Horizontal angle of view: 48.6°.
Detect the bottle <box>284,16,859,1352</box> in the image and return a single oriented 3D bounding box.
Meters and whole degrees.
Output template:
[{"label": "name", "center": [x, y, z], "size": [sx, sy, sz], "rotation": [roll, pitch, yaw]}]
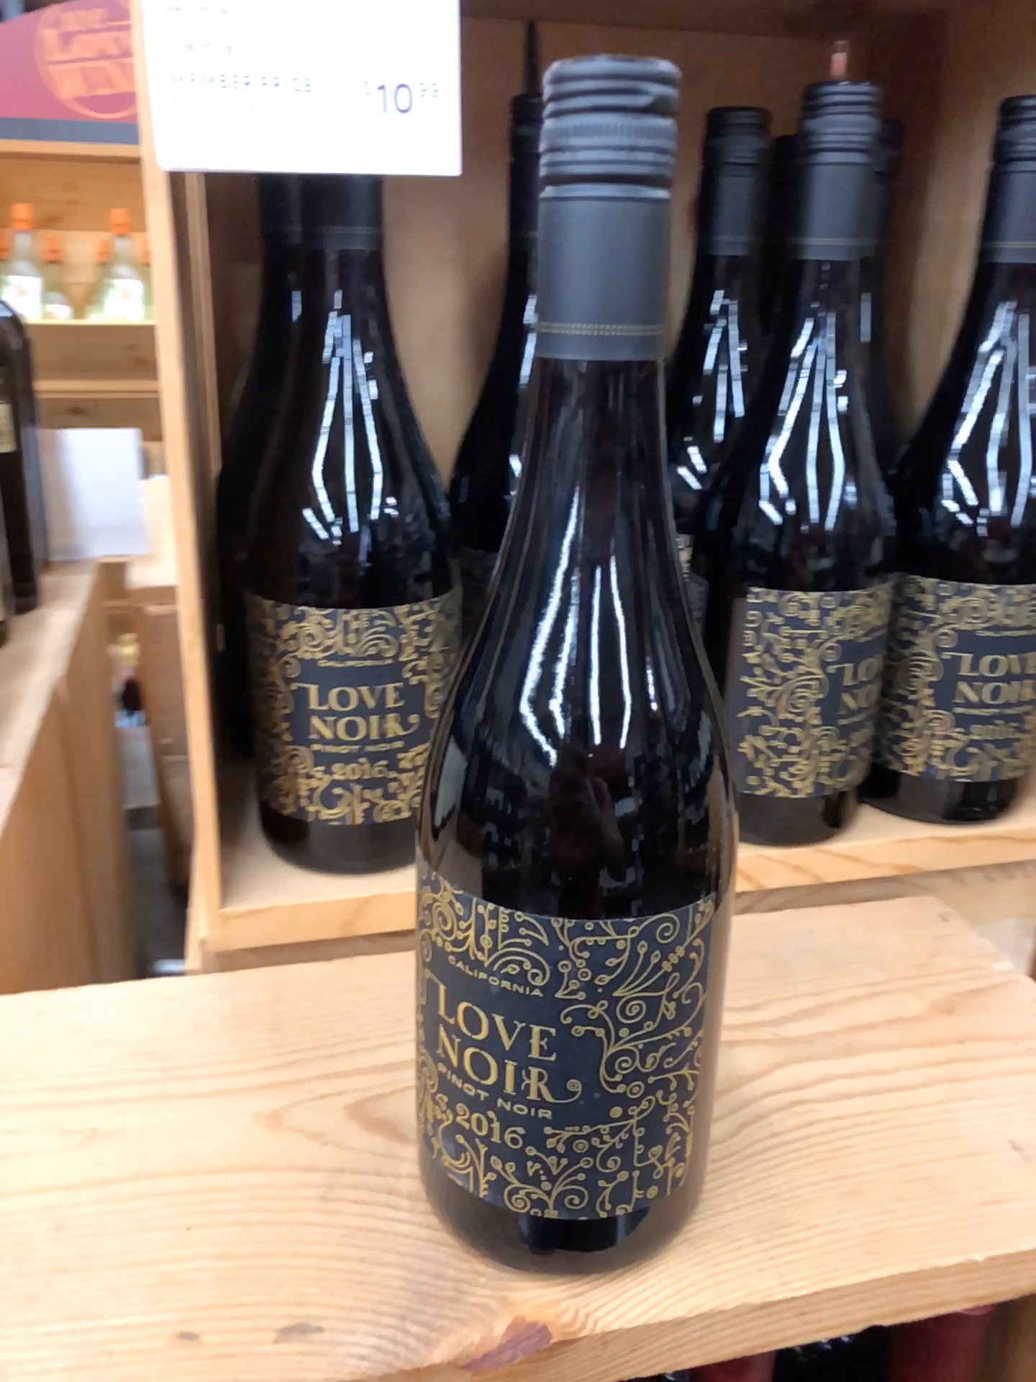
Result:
[{"label": "bottle", "center": [0.012, 0.006, 0.284], "size": [0.090, 0.285, 0.085], "rotation": [1, 21, 0]}]
